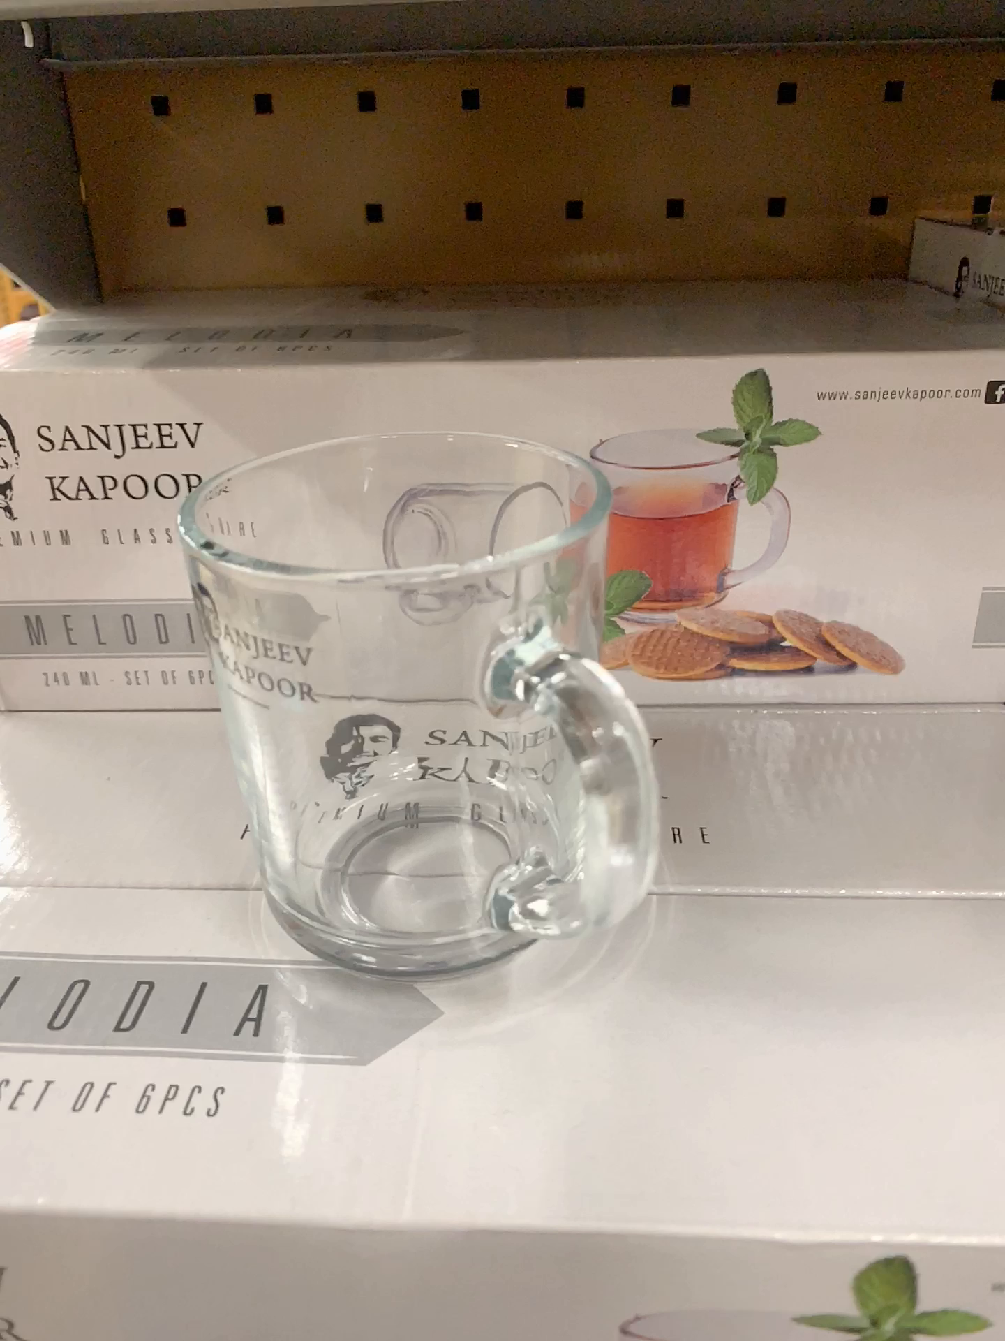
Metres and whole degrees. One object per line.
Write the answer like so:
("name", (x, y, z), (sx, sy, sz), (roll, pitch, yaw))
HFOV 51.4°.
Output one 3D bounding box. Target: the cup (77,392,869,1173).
("cup", (-0.007, 0.006, 0.177), (0.100, 0.080, 0.070), (21, 34, 36))
